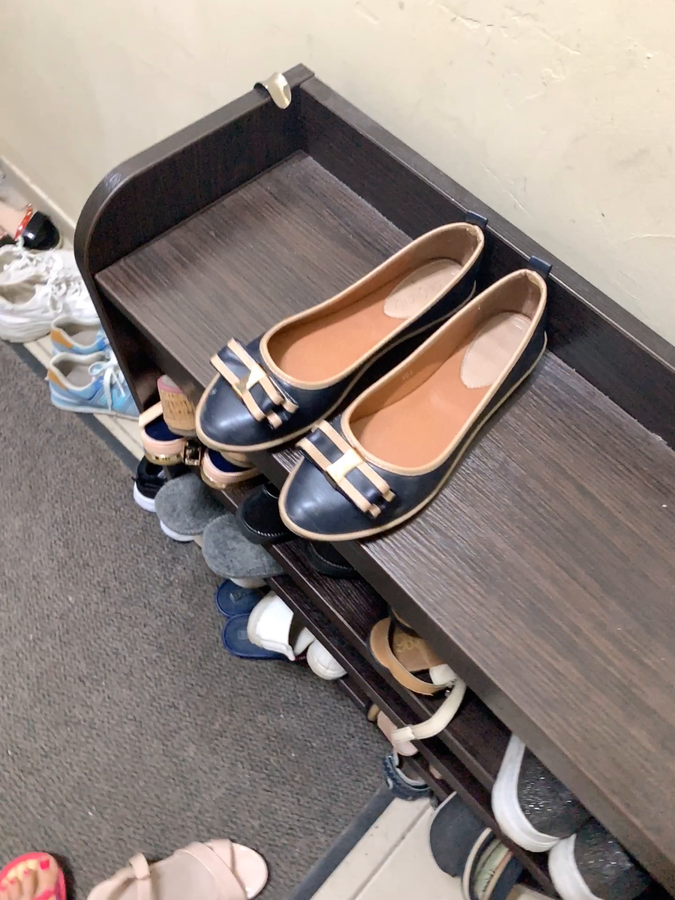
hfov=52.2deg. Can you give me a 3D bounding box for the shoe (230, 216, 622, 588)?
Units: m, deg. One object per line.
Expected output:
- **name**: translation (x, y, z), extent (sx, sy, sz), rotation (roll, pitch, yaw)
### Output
- **shoe**: translation (0.069, -0.043, 0.509), extent (0.280, 0.100, 0.100), rotation (-39, 66, -21)

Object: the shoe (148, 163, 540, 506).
- **shoe**: translation (0.013, -0.095, 0.529), extent (0.280, 0.100, 0.100), rotation (-36, 65, -20)
